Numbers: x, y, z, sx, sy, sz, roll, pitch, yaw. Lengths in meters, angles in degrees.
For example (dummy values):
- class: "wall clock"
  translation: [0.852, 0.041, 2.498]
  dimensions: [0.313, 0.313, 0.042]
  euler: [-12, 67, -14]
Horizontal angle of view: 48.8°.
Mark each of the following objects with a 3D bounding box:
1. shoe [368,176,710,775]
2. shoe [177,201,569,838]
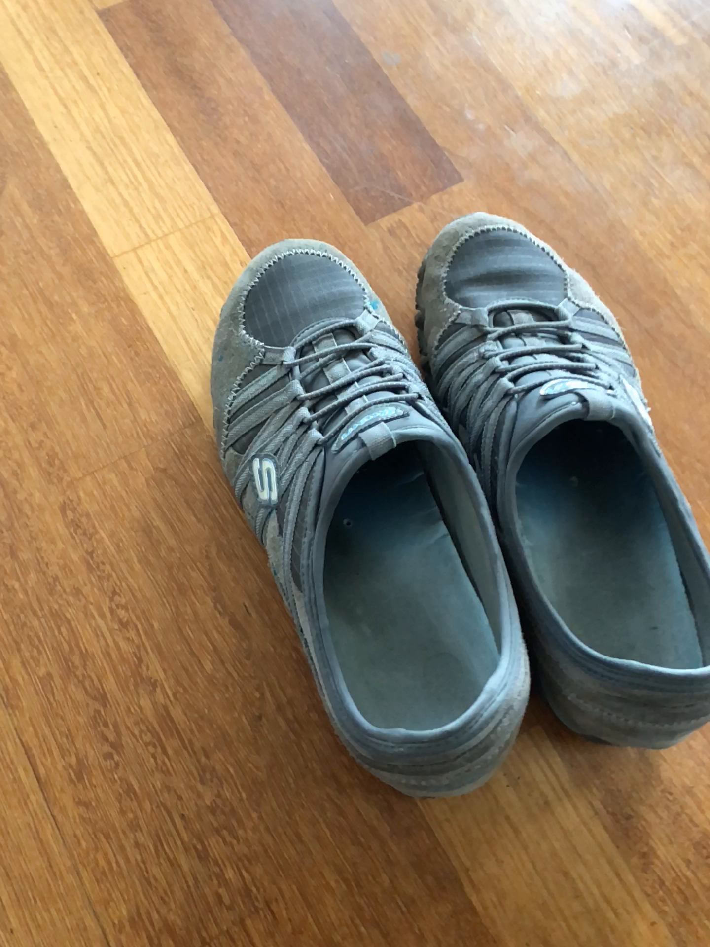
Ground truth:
- class: "shoe"
  translation: [0.089, 0.001, 0.377]
  dimensions: [0.093, 0.106, 0.250]
  euler: [-13, 72, -9]
- class: "shoe"
  translation: [-0.004, 0.017, 0.368]
  dimensions: [0.096, 0.106, 0.253]
  euler: [-13, 72, -9]
